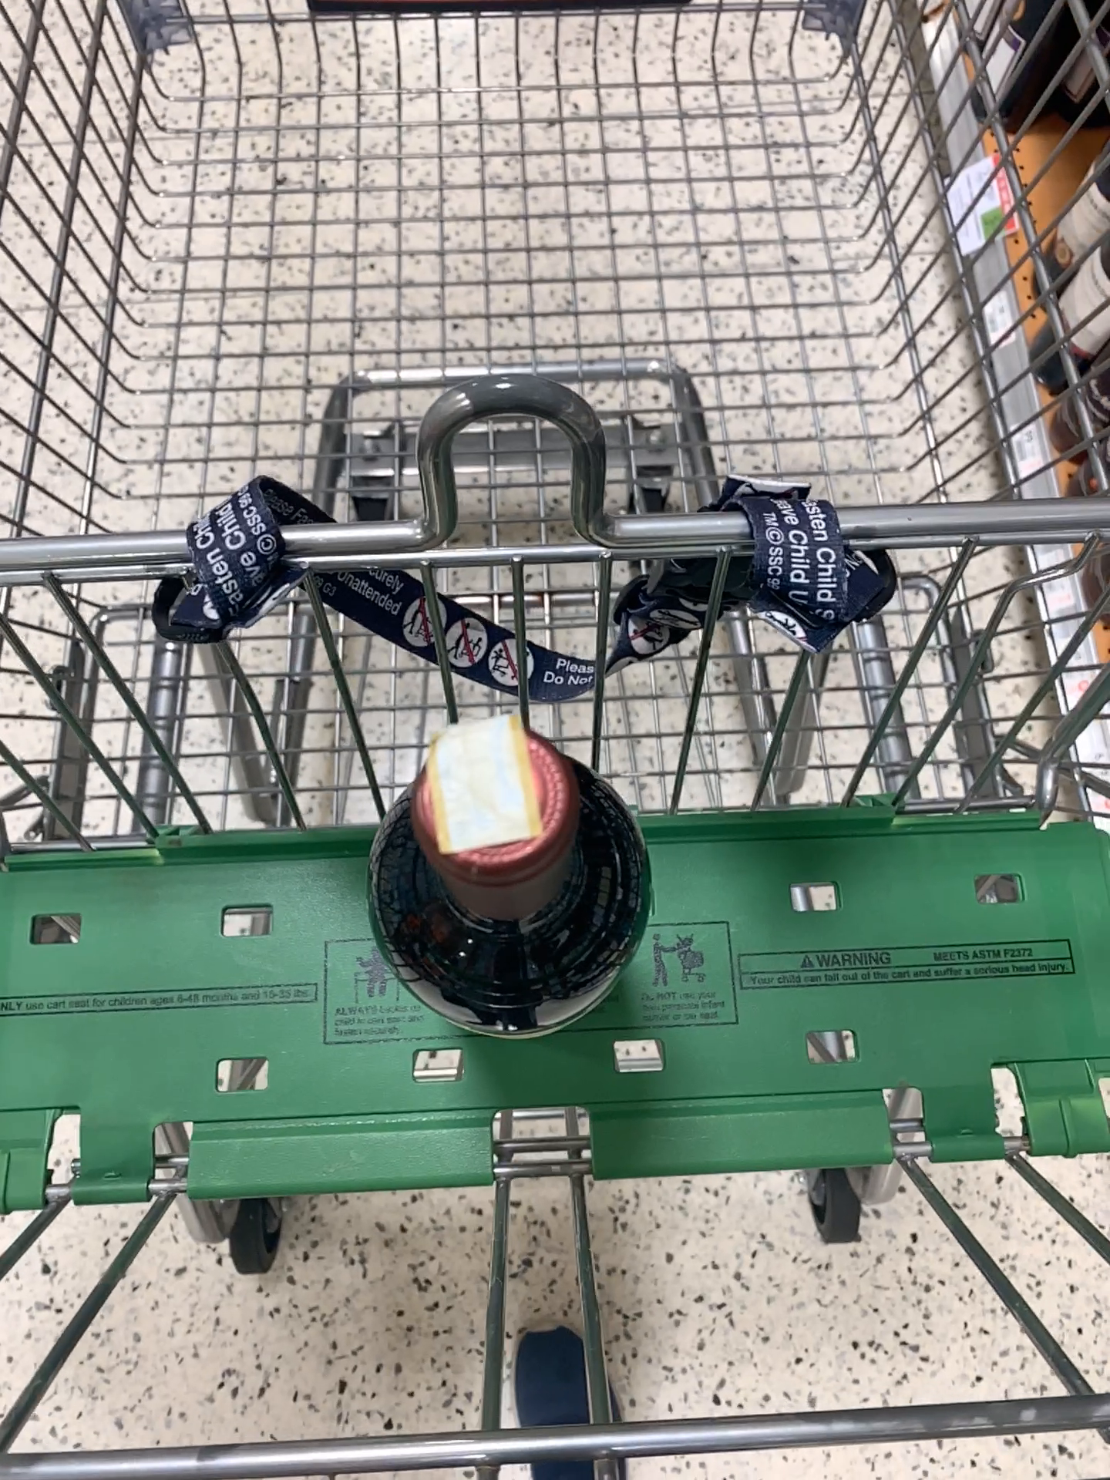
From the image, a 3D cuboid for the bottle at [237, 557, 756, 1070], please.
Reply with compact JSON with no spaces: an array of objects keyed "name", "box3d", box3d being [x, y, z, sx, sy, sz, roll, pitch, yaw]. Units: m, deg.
[{"name":"bottle","box3d":[-0.013,0.047,0.320,0.080,0.269,0.080,0,74,0]}]
